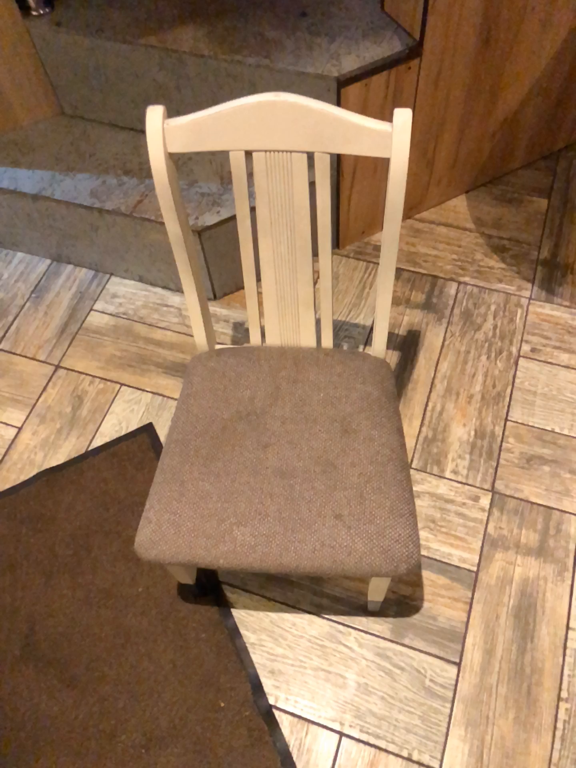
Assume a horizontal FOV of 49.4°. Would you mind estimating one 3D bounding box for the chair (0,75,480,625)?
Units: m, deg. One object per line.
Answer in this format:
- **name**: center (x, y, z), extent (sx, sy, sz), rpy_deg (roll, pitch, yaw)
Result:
- **chair**: center (-0.019, 0.044, 1.098), extent (0.479, 0.918, 0.521), rpy_deg (3, 59, 6)
